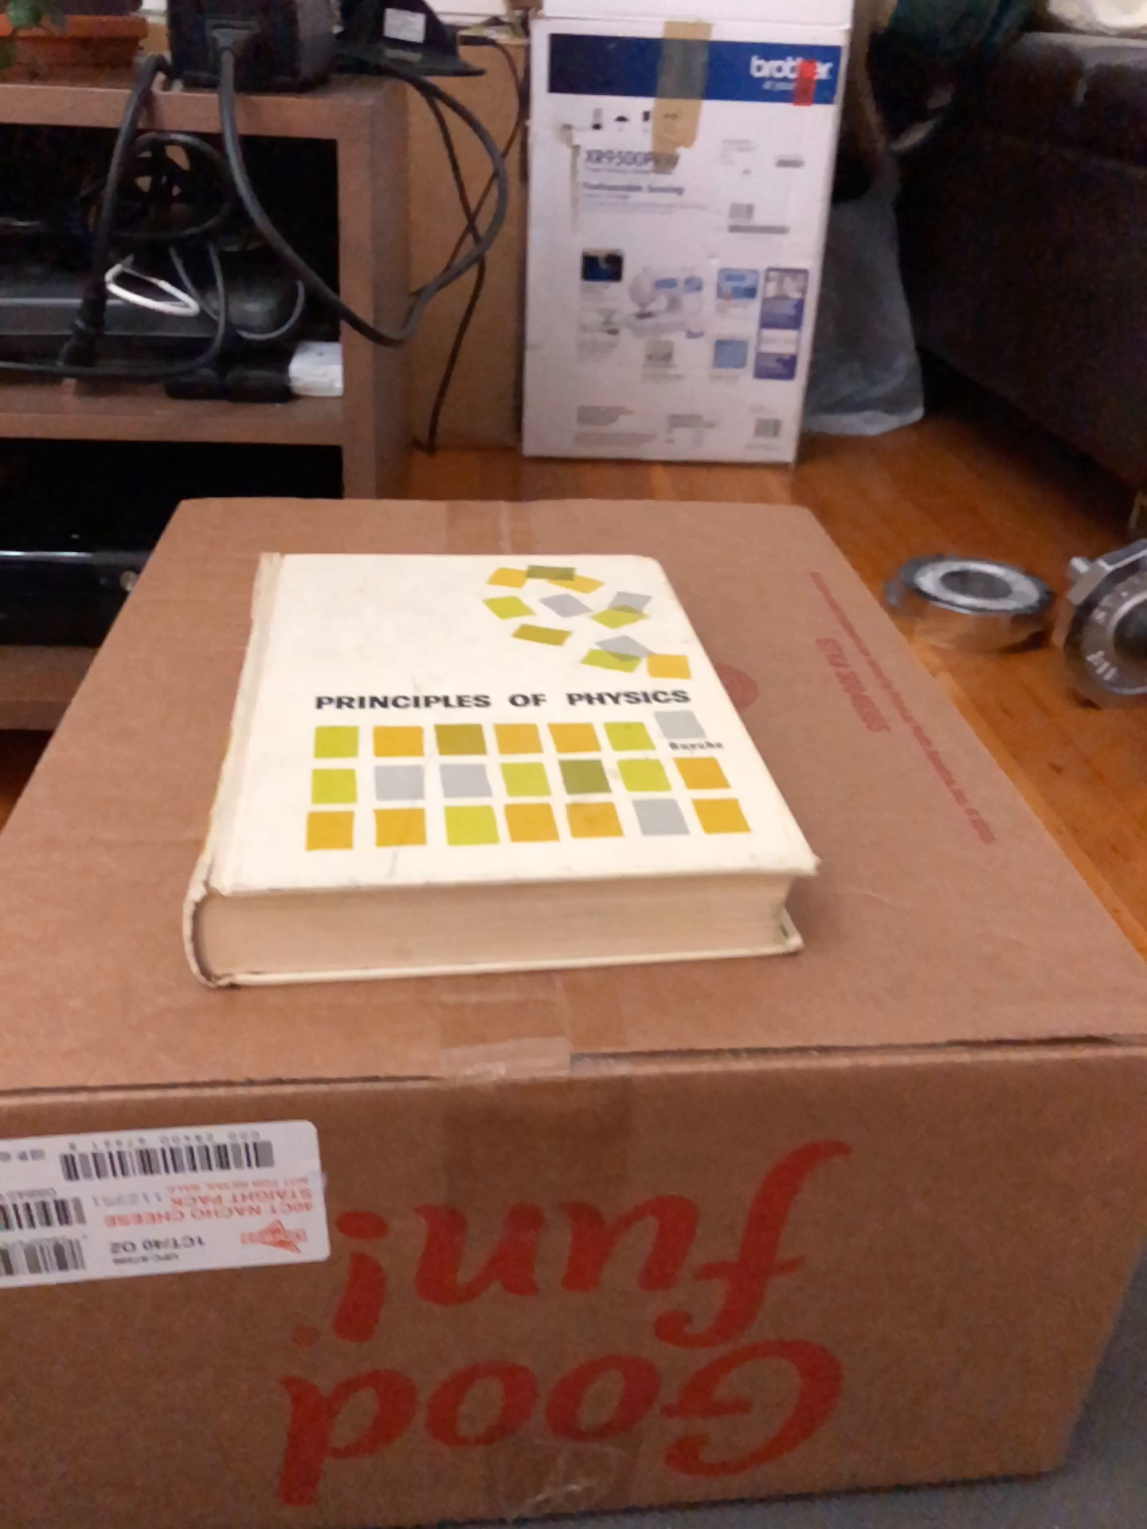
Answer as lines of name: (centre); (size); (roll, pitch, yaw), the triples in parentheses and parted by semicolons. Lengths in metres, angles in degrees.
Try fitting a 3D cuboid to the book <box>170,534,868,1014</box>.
book: (-0.027, -0.017, 0.444); (0.180, 0.040, 0.251); (-2, 30, -7)
